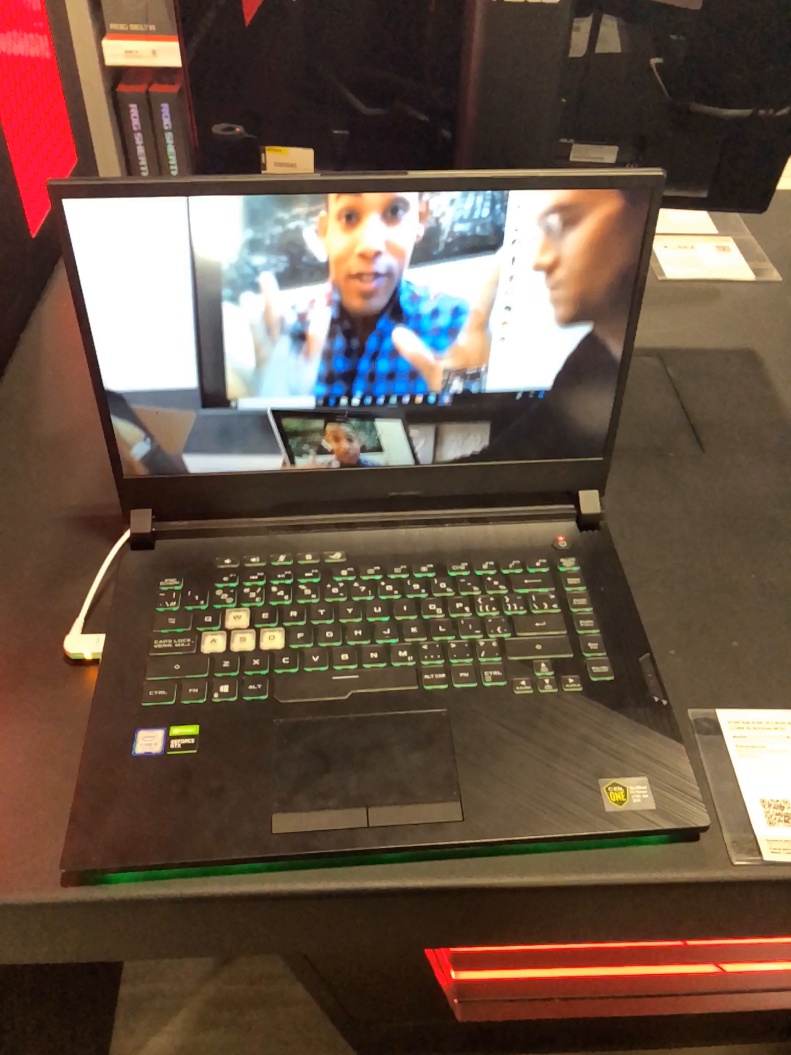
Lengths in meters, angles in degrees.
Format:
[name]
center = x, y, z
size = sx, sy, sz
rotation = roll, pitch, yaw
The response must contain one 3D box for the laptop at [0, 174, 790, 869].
[laptop]
center = -0.009, -0.010, 0.501
size = 0.360, 0.268, 0.276
rotation = -2, 45, -5
